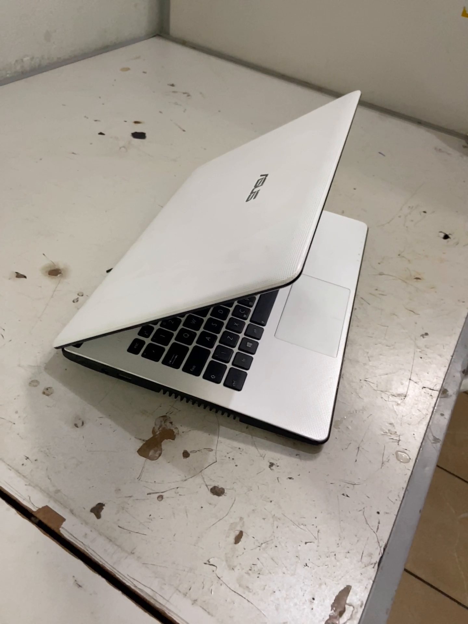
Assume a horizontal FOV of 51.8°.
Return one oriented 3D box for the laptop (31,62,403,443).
[{"bbox_3d":[0.020,-0.094,0.474,0.236,0.141,0.345,18,44,7],"label":"laptop"}]
